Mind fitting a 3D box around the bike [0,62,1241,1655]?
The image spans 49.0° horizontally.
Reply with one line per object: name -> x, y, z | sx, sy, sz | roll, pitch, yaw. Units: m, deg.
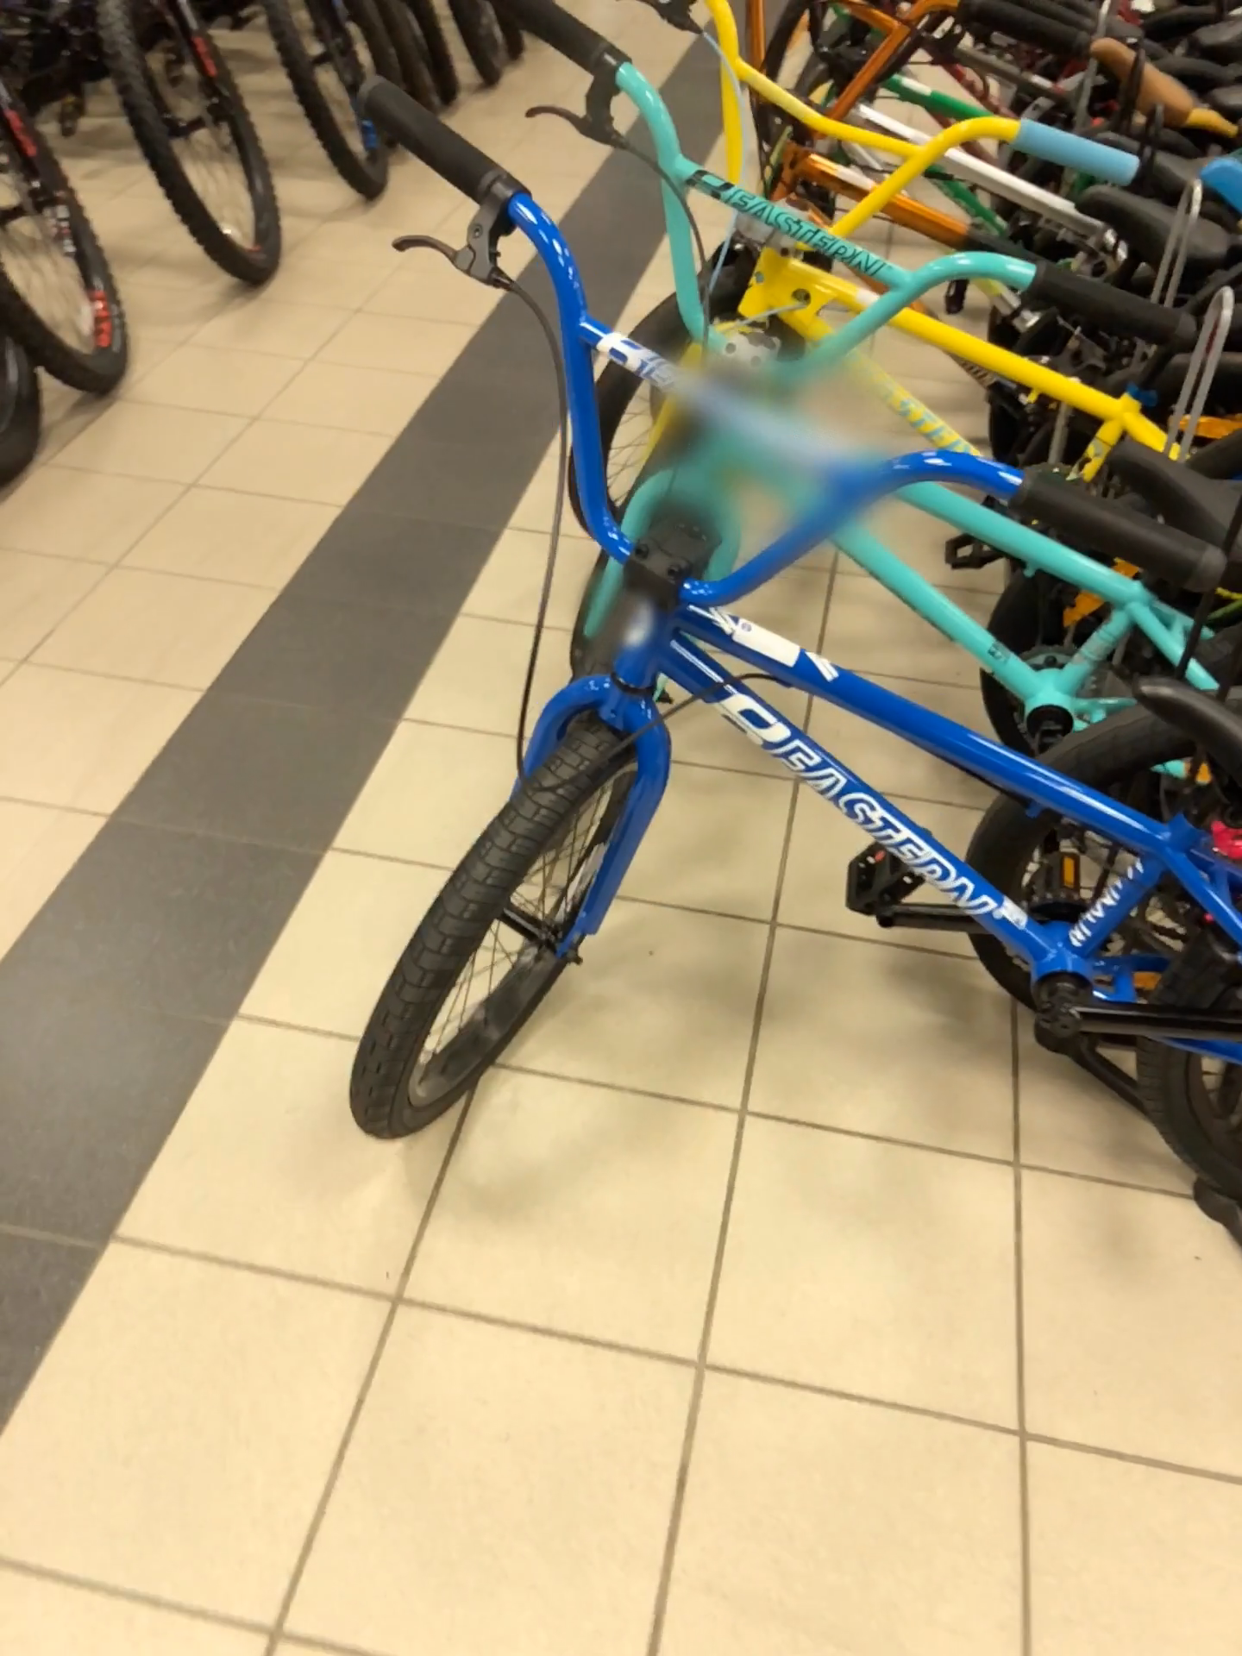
bike -> 0.400, 0.034, 1.130 | 1.257, 0.961, 0.825 | 5, 40, 1
